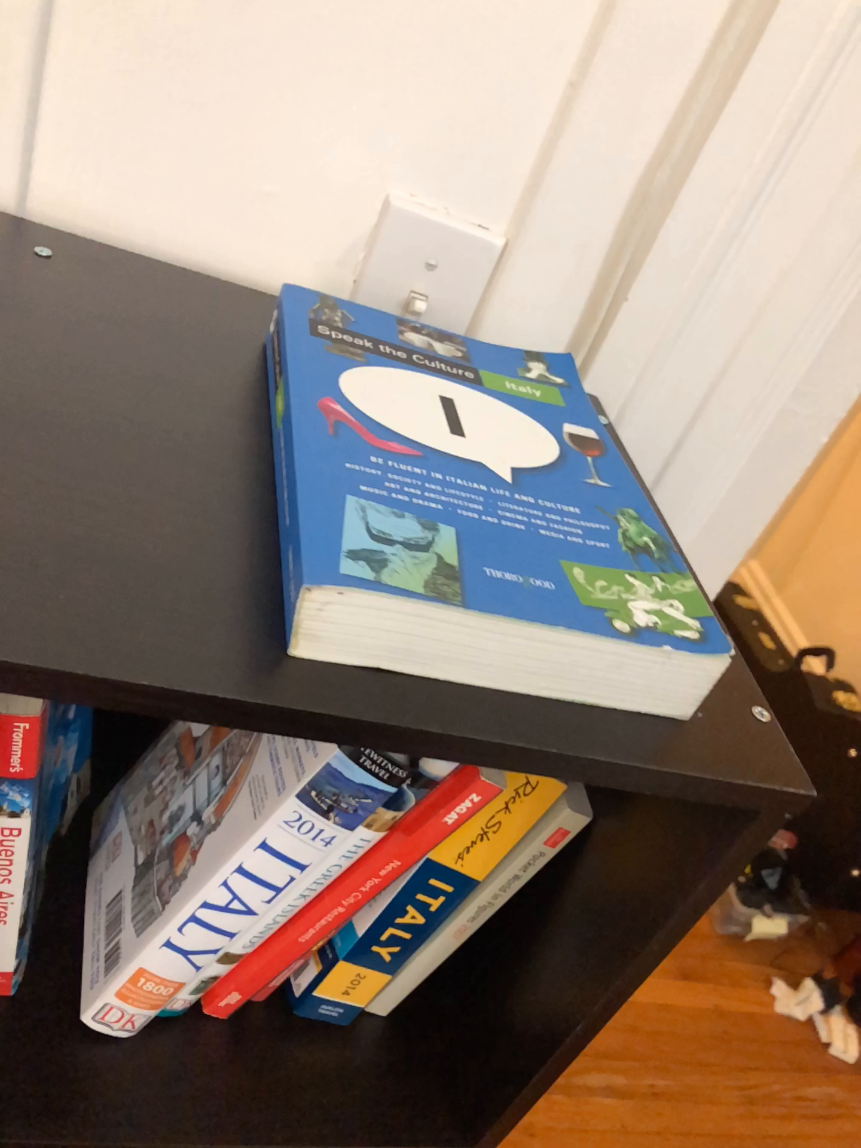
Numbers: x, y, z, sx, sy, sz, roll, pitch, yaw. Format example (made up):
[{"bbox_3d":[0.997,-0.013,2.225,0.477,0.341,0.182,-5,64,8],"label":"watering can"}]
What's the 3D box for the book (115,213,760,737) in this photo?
[{"bbox_3d":[-0.010,-0.055,0.386,0.200,0.030,0.261,11,36,-21],"label":"book"}]
